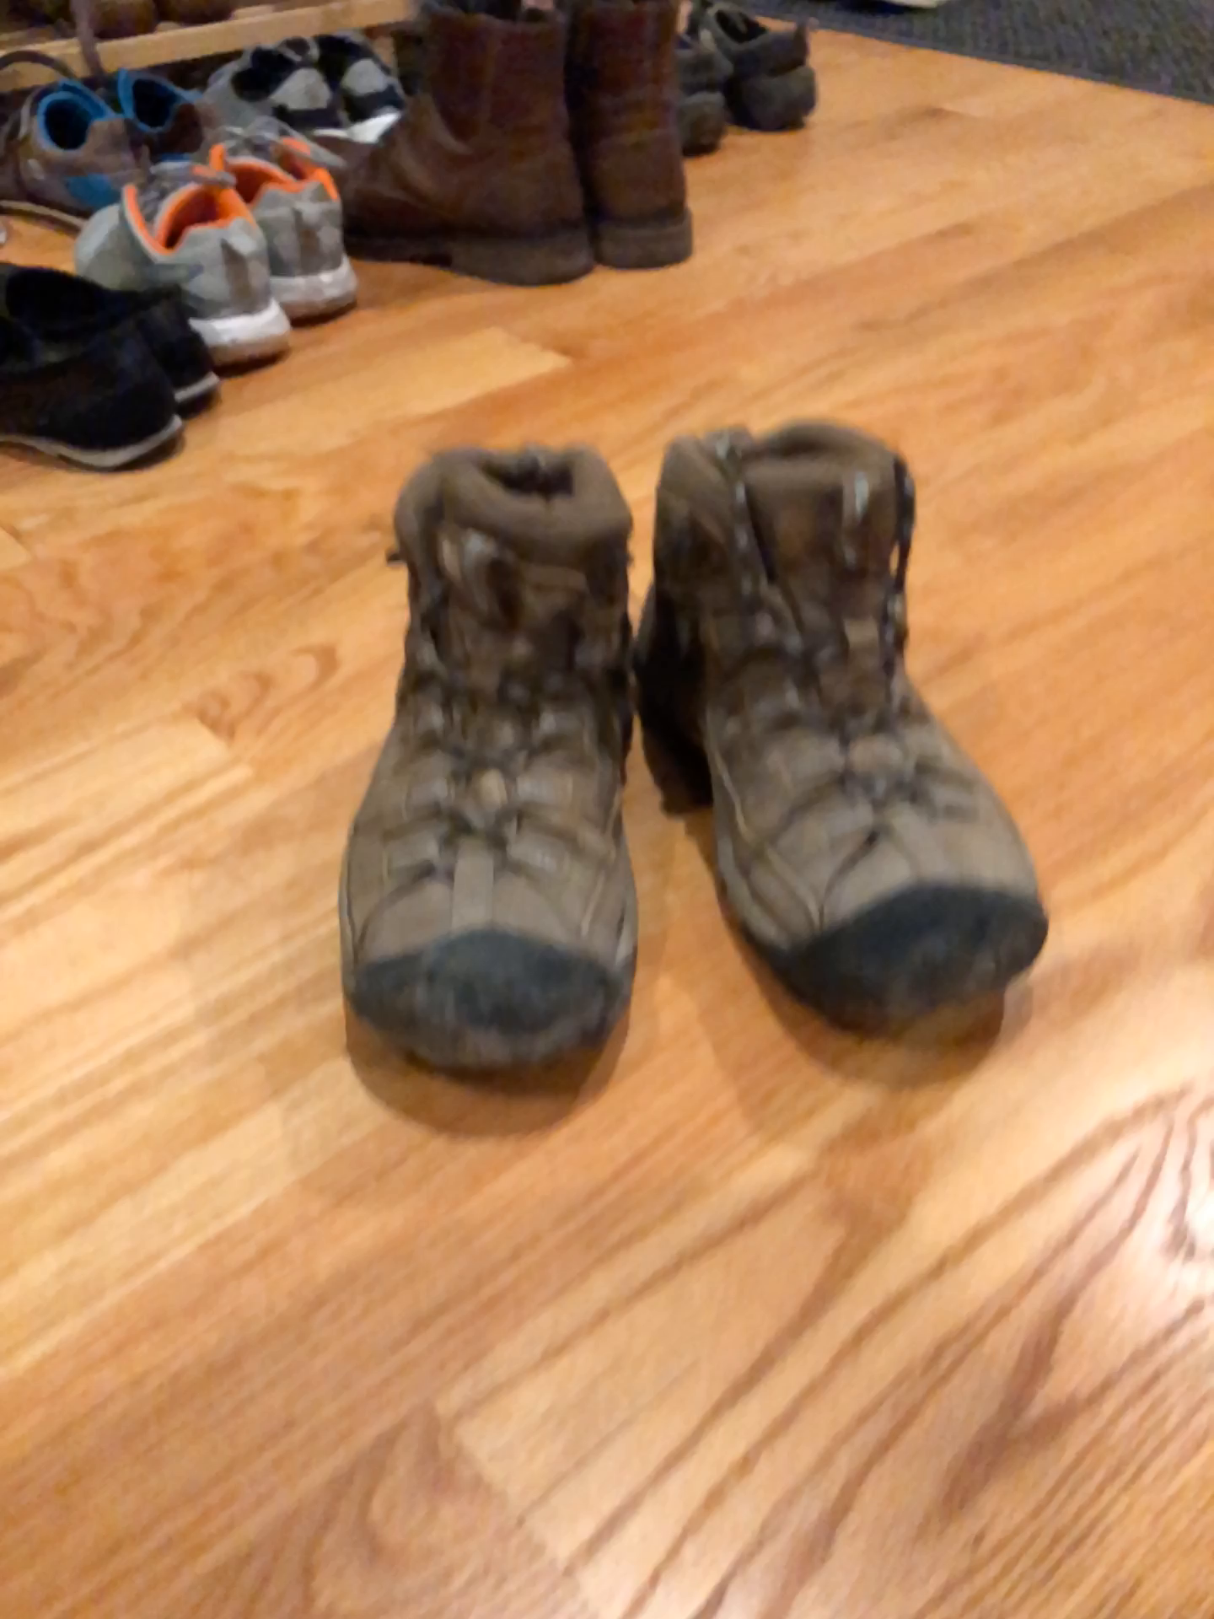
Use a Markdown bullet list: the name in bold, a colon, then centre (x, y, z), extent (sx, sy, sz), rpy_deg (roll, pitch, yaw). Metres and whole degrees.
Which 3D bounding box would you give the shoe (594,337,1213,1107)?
- **shoe**: centre (0.080, -0.050, 0.485), extent (0.107, 0.138, 0.261), rpy_deg (-10, 41, -11)

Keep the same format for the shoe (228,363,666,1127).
- **shoe**: centre (-0.038, -0.038, 0.473), extent (0.107, 0.138, 0.261), rpy_deg (0, 40, 1)
